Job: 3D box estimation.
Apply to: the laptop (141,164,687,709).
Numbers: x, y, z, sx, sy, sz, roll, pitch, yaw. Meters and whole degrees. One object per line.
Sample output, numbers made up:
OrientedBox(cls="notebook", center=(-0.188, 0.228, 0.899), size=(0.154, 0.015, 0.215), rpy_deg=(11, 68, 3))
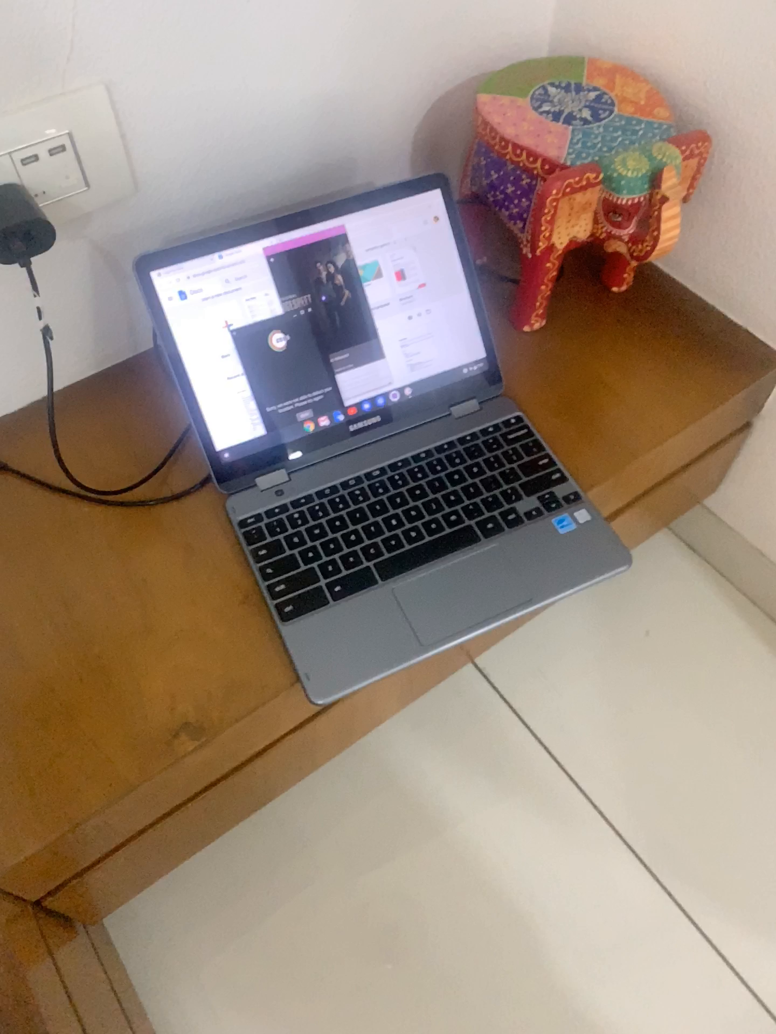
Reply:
OrientedBox(cls="laptop", center=(0.002, -0.094, 0.721), size=(0.314, 0.164, 0.384), rpy_deg=(-22, 60, -13))
